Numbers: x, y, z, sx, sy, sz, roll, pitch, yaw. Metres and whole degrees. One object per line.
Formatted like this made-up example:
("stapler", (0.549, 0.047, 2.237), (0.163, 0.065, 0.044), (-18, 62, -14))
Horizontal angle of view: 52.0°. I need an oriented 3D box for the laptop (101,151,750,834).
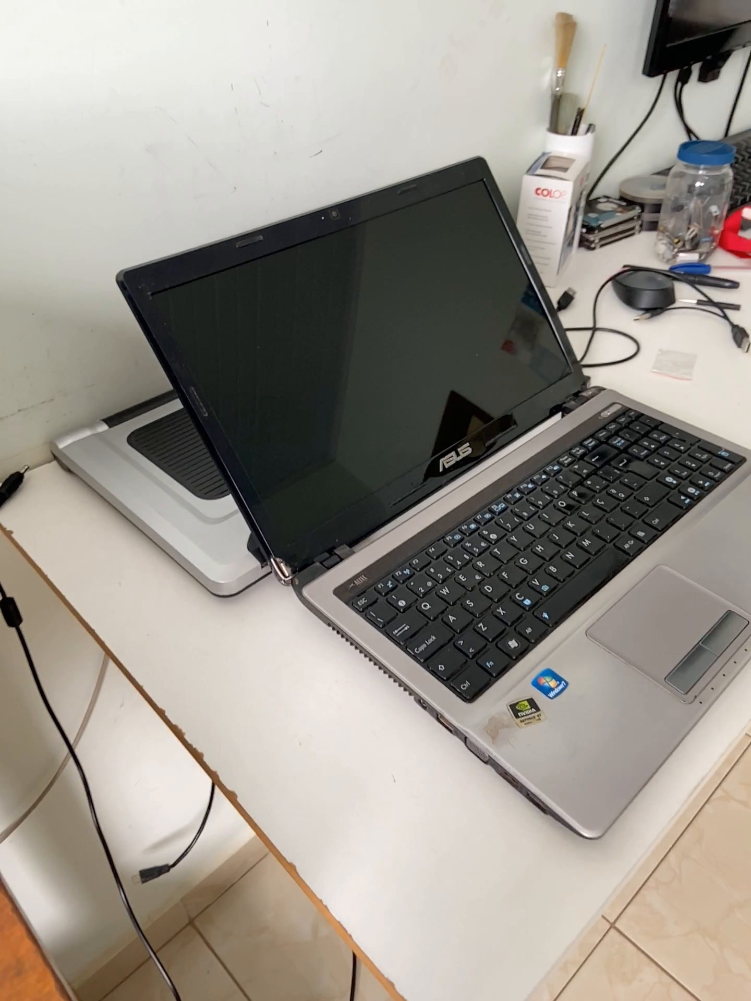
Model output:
("laptop", (0.099, -0.077, 0.556), (0.377, 0.179, 0.416), (-31, 48, -31))
